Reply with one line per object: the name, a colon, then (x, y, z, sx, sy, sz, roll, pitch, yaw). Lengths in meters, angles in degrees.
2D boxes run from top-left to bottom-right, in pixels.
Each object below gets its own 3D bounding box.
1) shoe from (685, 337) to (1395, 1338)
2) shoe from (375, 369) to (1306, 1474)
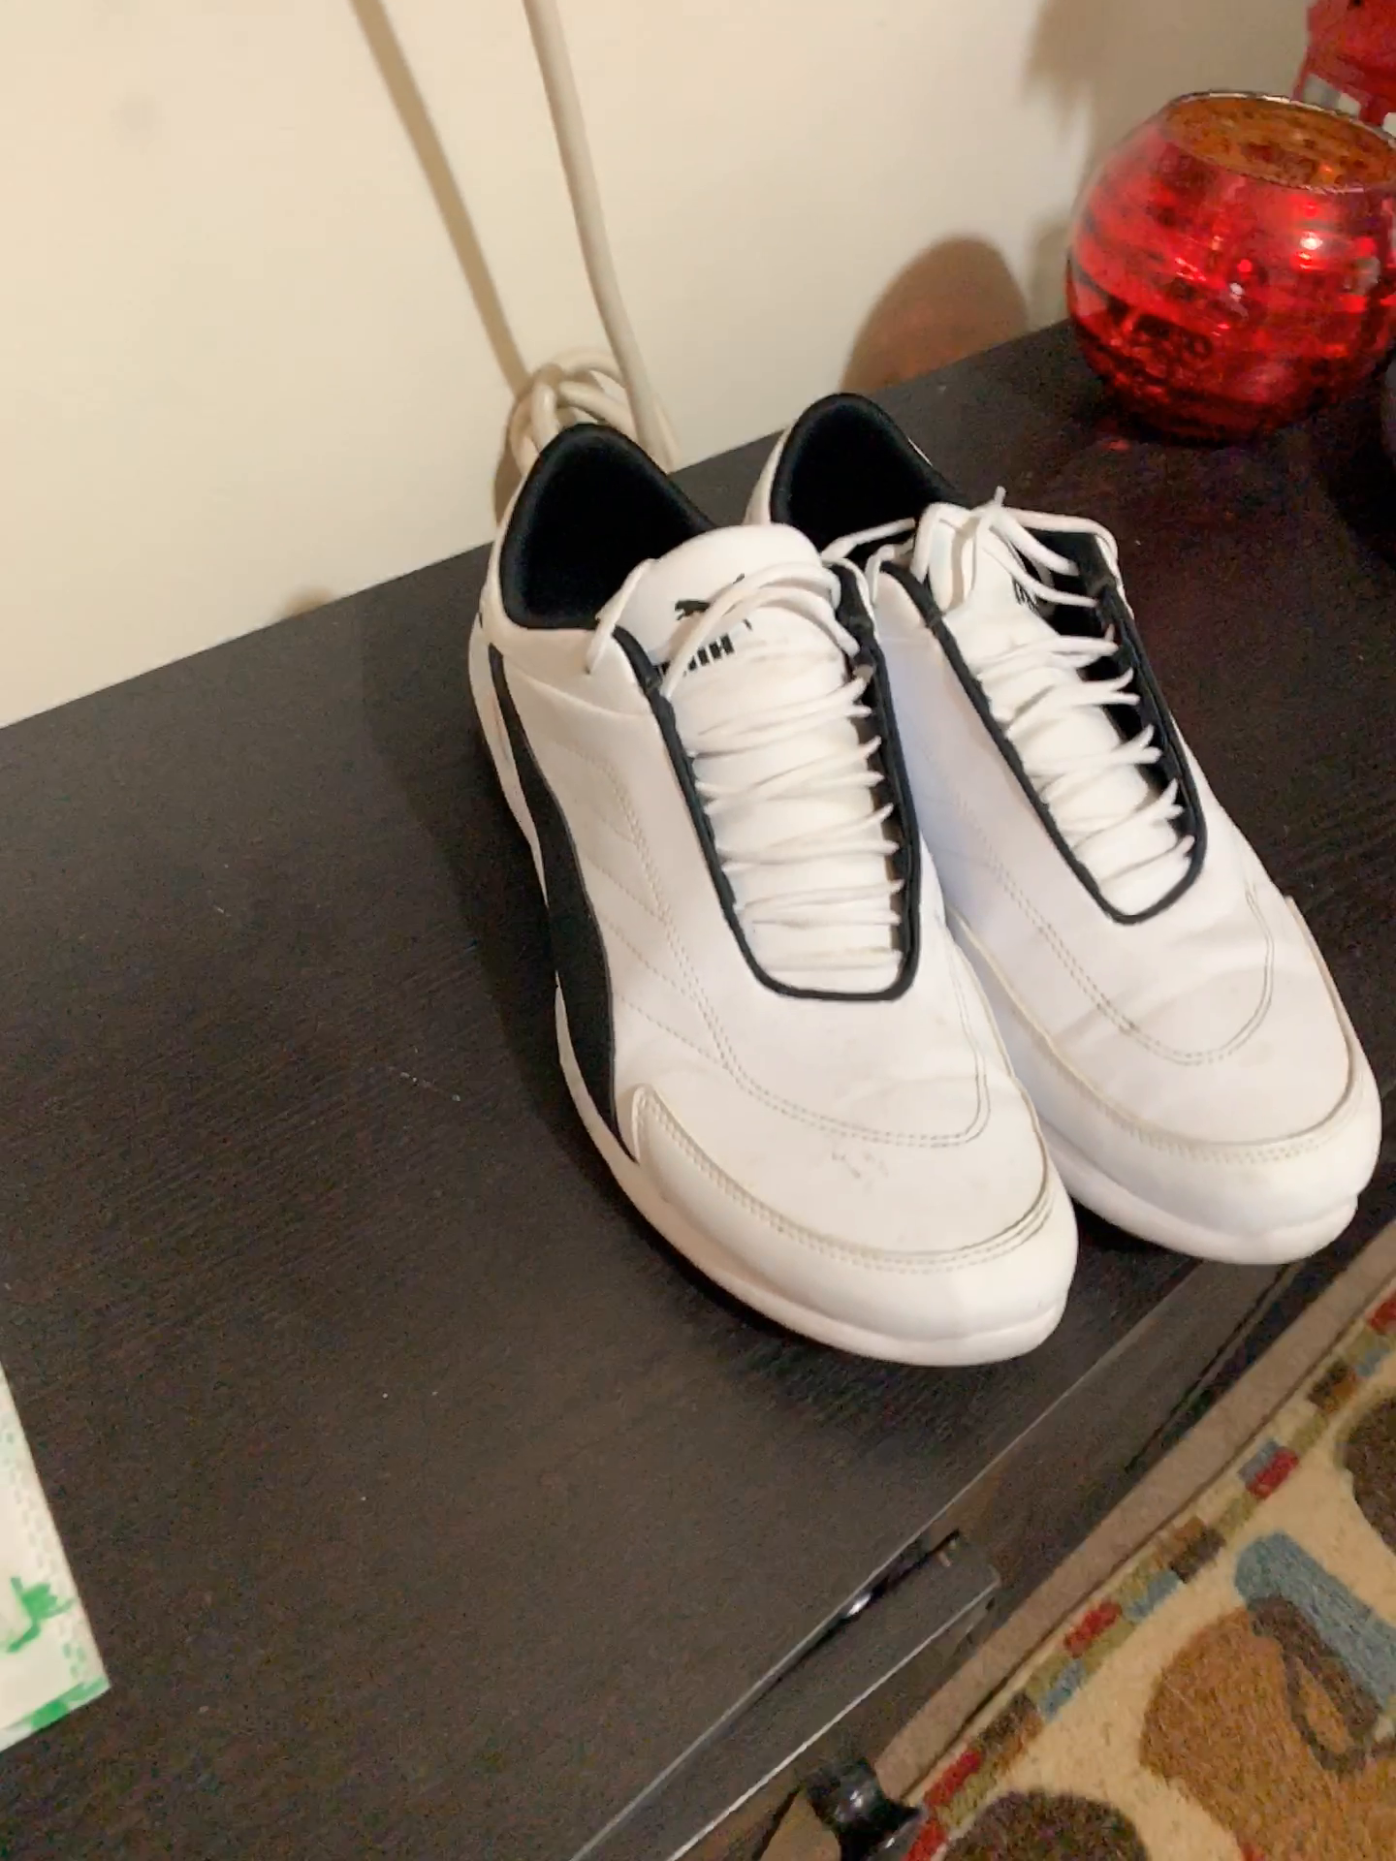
shoe: (0.099, -0.049, 0.414, 0.100, 0.089, 0.292, -14, 54, -17)
shoe: (0.010, -0.026, 0.381, 0.120, 0.089, 0.282, -14, 54, -17)
